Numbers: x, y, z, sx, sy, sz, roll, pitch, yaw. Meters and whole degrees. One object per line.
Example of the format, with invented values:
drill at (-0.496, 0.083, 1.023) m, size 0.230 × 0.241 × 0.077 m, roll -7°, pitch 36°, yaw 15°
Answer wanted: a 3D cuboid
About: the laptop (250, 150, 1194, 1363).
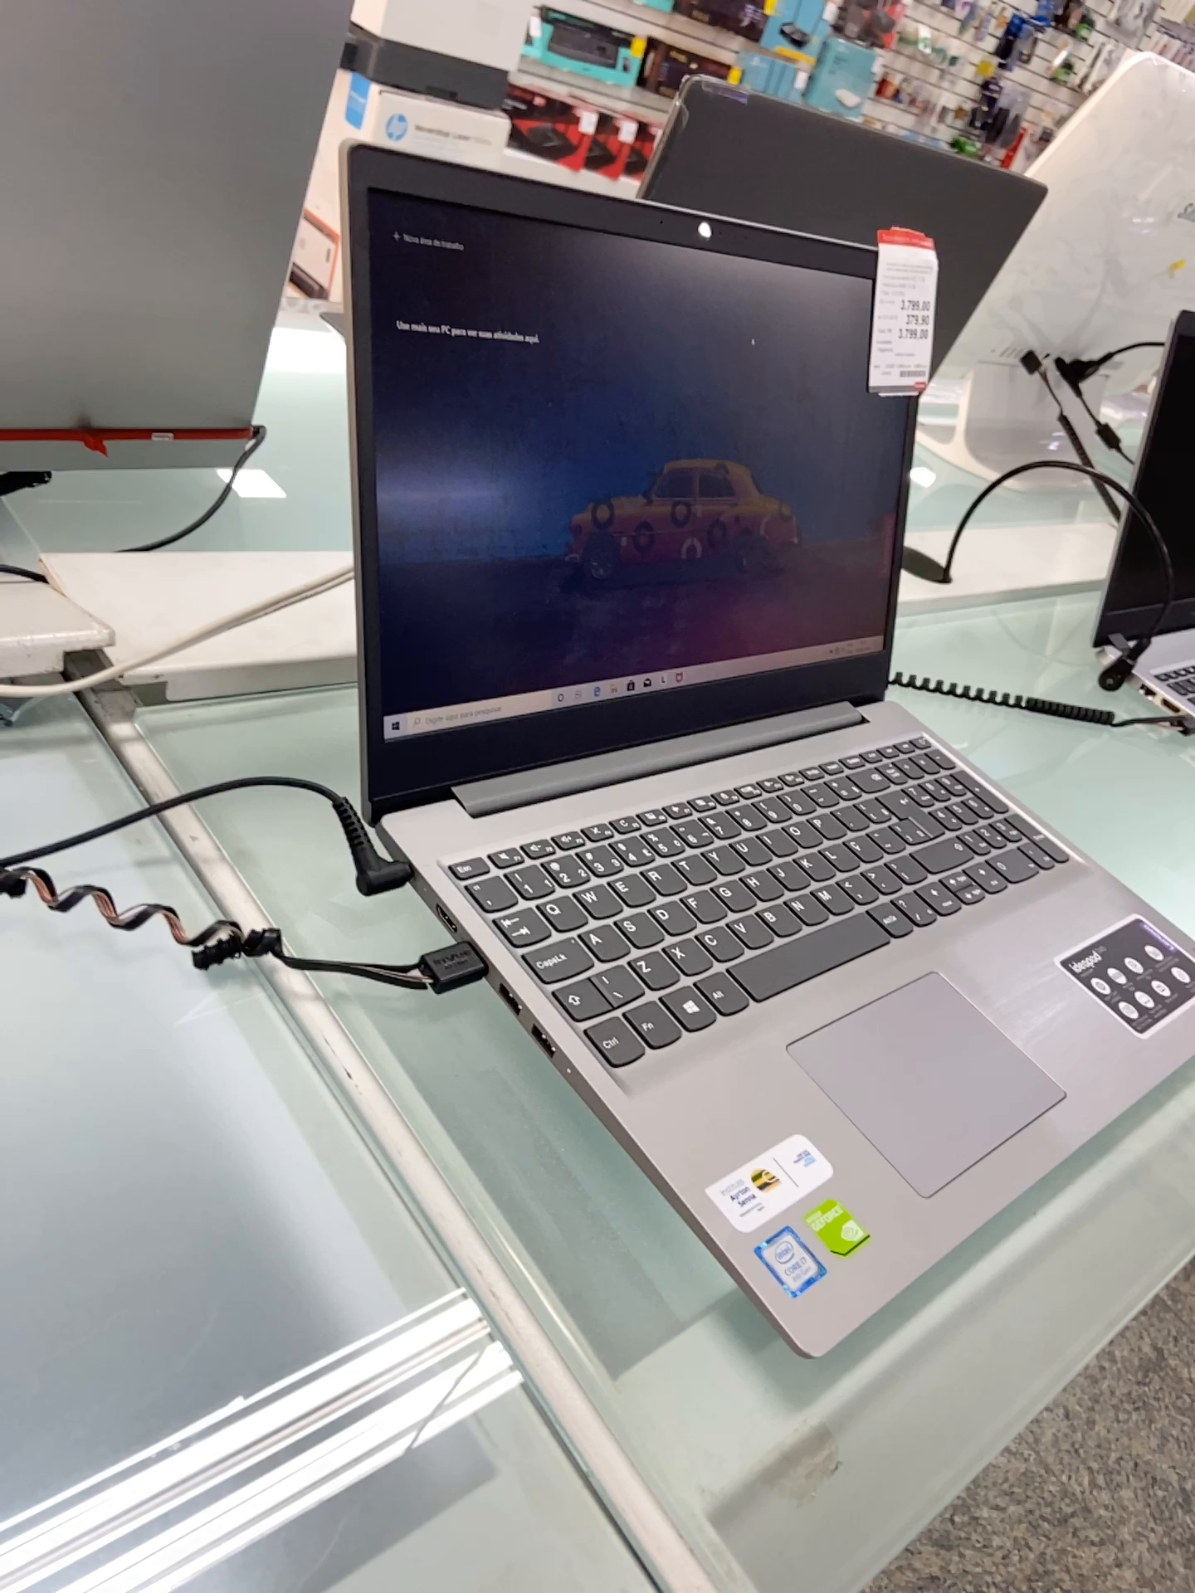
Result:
laptop at (0.123, -0.060, 0.511) m, size 0.365 × 0.213 × 0.360 m, roll -13°, pitch 48°, yaw -41°
